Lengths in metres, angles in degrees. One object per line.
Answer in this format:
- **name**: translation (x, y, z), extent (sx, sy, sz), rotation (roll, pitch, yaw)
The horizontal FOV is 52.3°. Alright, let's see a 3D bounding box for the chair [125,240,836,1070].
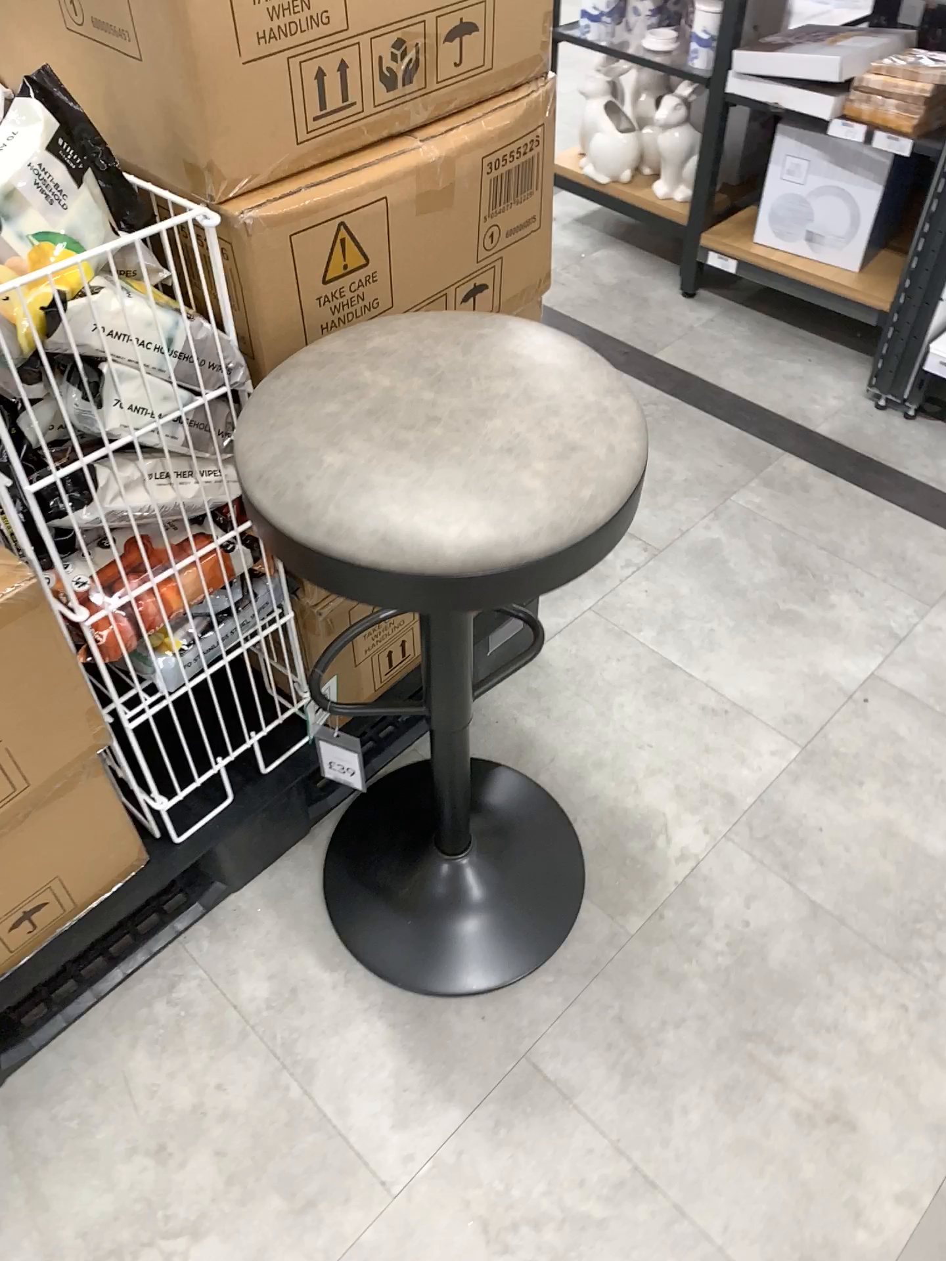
- **chair**: translation (-0.016, 0.055, 1.093), extent (0.458, 0.740, 0.436), rotation (-21, 50, -19)
